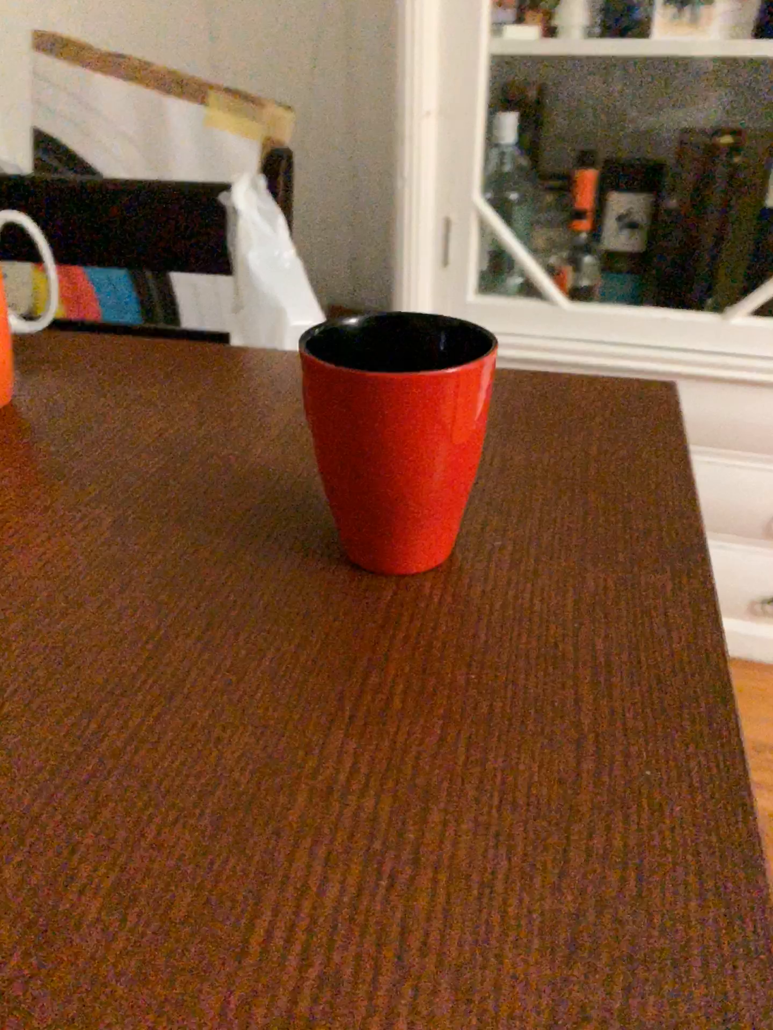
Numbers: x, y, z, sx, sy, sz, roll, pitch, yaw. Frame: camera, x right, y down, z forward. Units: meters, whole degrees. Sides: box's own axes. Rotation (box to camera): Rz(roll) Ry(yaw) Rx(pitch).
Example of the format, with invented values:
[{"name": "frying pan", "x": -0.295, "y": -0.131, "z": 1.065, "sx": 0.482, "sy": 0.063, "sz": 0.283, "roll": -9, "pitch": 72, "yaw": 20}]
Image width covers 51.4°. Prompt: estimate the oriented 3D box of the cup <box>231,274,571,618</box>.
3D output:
[{"name": "cup", "x": 0.001, "y": -0.041, "z": 0.370, "sx": 0.090, "sy": 0.099, "sz": 0.131, "roll": -17, "pitch": 34, "yaw": -27}]
